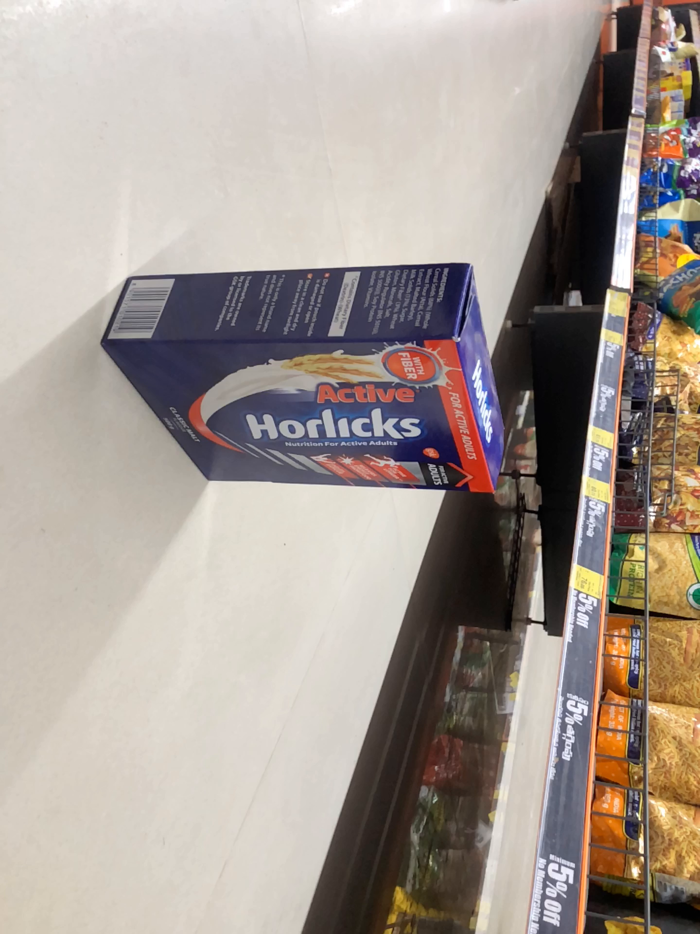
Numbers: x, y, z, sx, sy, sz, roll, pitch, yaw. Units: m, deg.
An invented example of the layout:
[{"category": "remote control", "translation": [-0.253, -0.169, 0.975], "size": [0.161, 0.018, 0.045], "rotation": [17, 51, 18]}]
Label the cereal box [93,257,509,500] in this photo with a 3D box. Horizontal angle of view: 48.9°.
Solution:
[{"category": "cereal box", "translation": [-0.017, -0.042, 0.430], "size": [0.141, 0.189, 0.050], "rotation": [63, 34, -54]}]
